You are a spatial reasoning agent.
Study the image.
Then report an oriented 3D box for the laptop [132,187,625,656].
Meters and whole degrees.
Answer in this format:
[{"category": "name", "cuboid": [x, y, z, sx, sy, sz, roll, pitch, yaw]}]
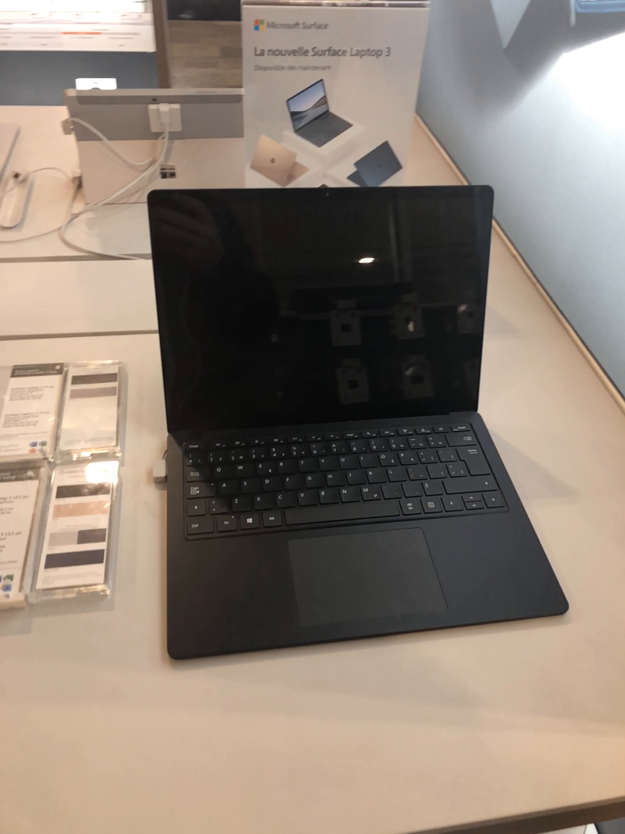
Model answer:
[{"category": "laptop", "cuboid": [0.030, -0.021, 0.556, 0.308, 0.197, 0.315, -4, 43, -9]}]
